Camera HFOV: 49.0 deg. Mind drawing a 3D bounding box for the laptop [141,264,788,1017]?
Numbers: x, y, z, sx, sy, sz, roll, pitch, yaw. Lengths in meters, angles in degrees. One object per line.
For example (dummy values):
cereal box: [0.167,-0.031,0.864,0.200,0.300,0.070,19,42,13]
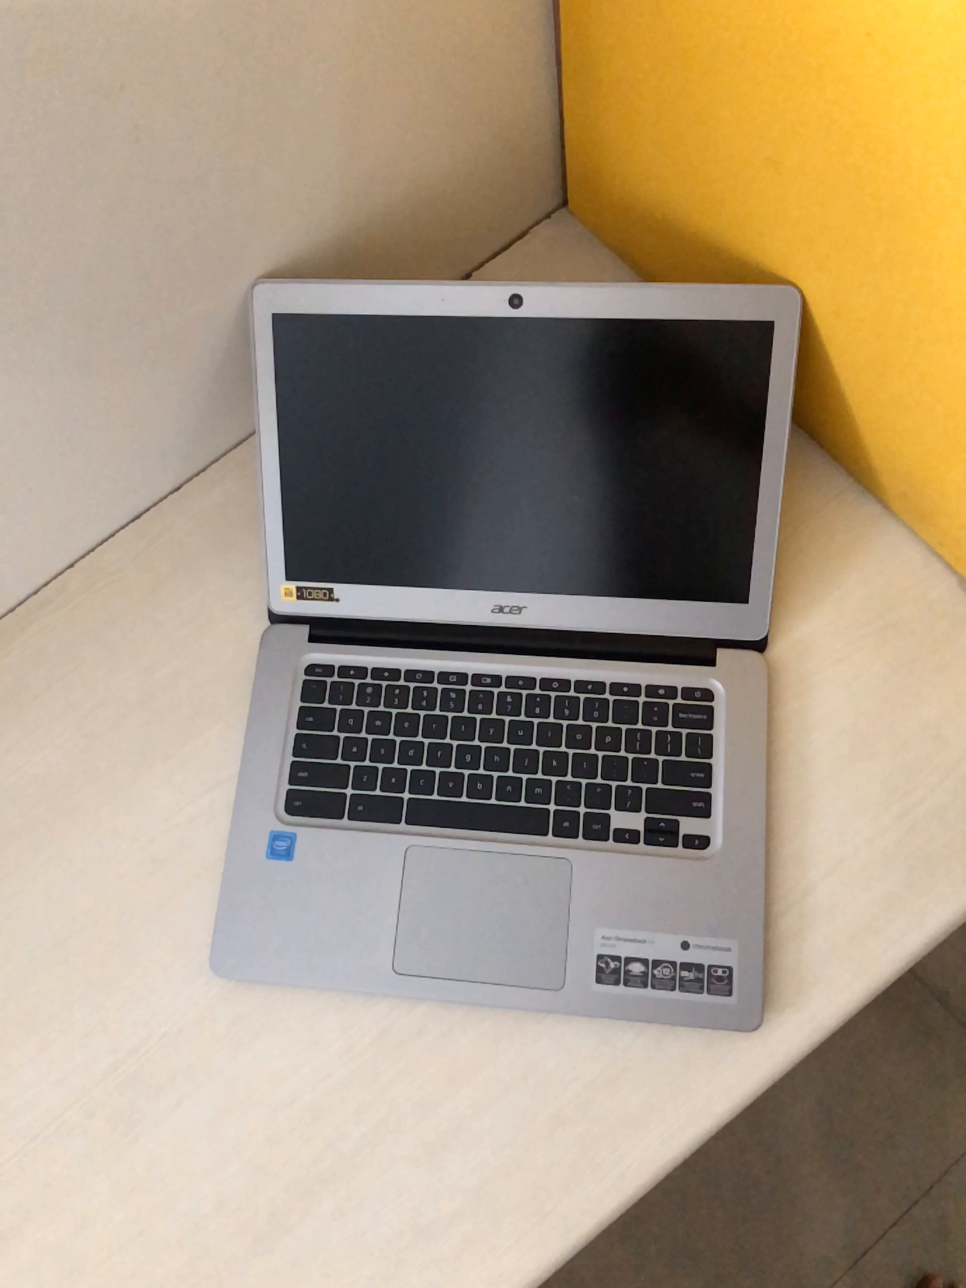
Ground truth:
laptop: [0.006,-0.010,0.640,0.319,0.124,0.409,3,75,8]
